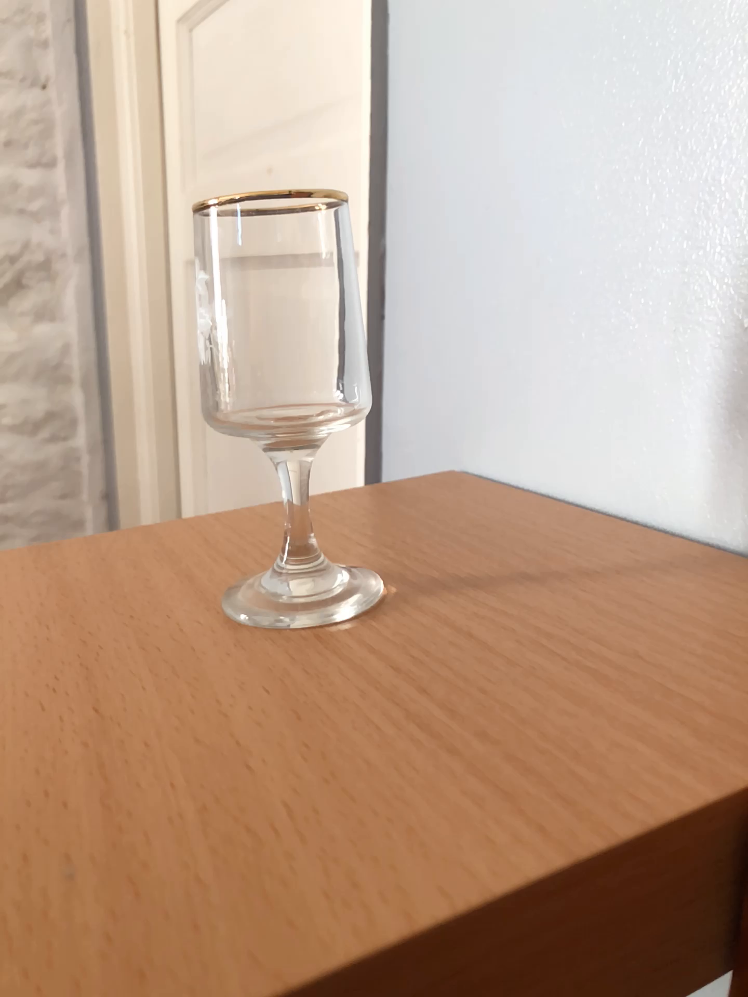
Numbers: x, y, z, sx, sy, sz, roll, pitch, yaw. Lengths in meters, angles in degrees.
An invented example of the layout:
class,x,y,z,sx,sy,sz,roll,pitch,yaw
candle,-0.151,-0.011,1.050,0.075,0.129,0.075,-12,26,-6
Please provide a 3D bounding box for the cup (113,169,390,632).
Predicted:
class,x,y,z,sx,sy,sz,roll,pitch,yaw
cup,-0.027,-0.026,0.225,0.056,0.108,0.052,-4,13,1
